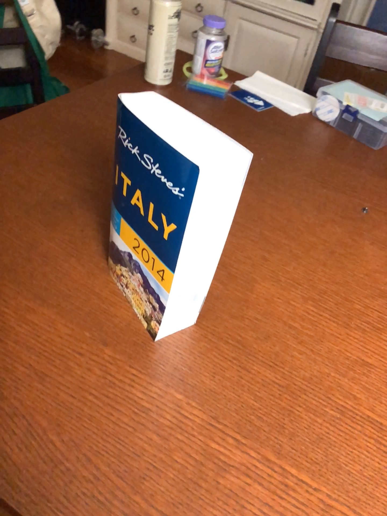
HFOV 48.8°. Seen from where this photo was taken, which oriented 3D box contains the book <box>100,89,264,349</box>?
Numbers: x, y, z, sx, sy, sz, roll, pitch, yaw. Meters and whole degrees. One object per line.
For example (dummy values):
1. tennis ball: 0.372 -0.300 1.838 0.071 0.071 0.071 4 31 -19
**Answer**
1. book: -0.026 -0.032 0.401 0.050 0.199 0.130 -19 51 -35
